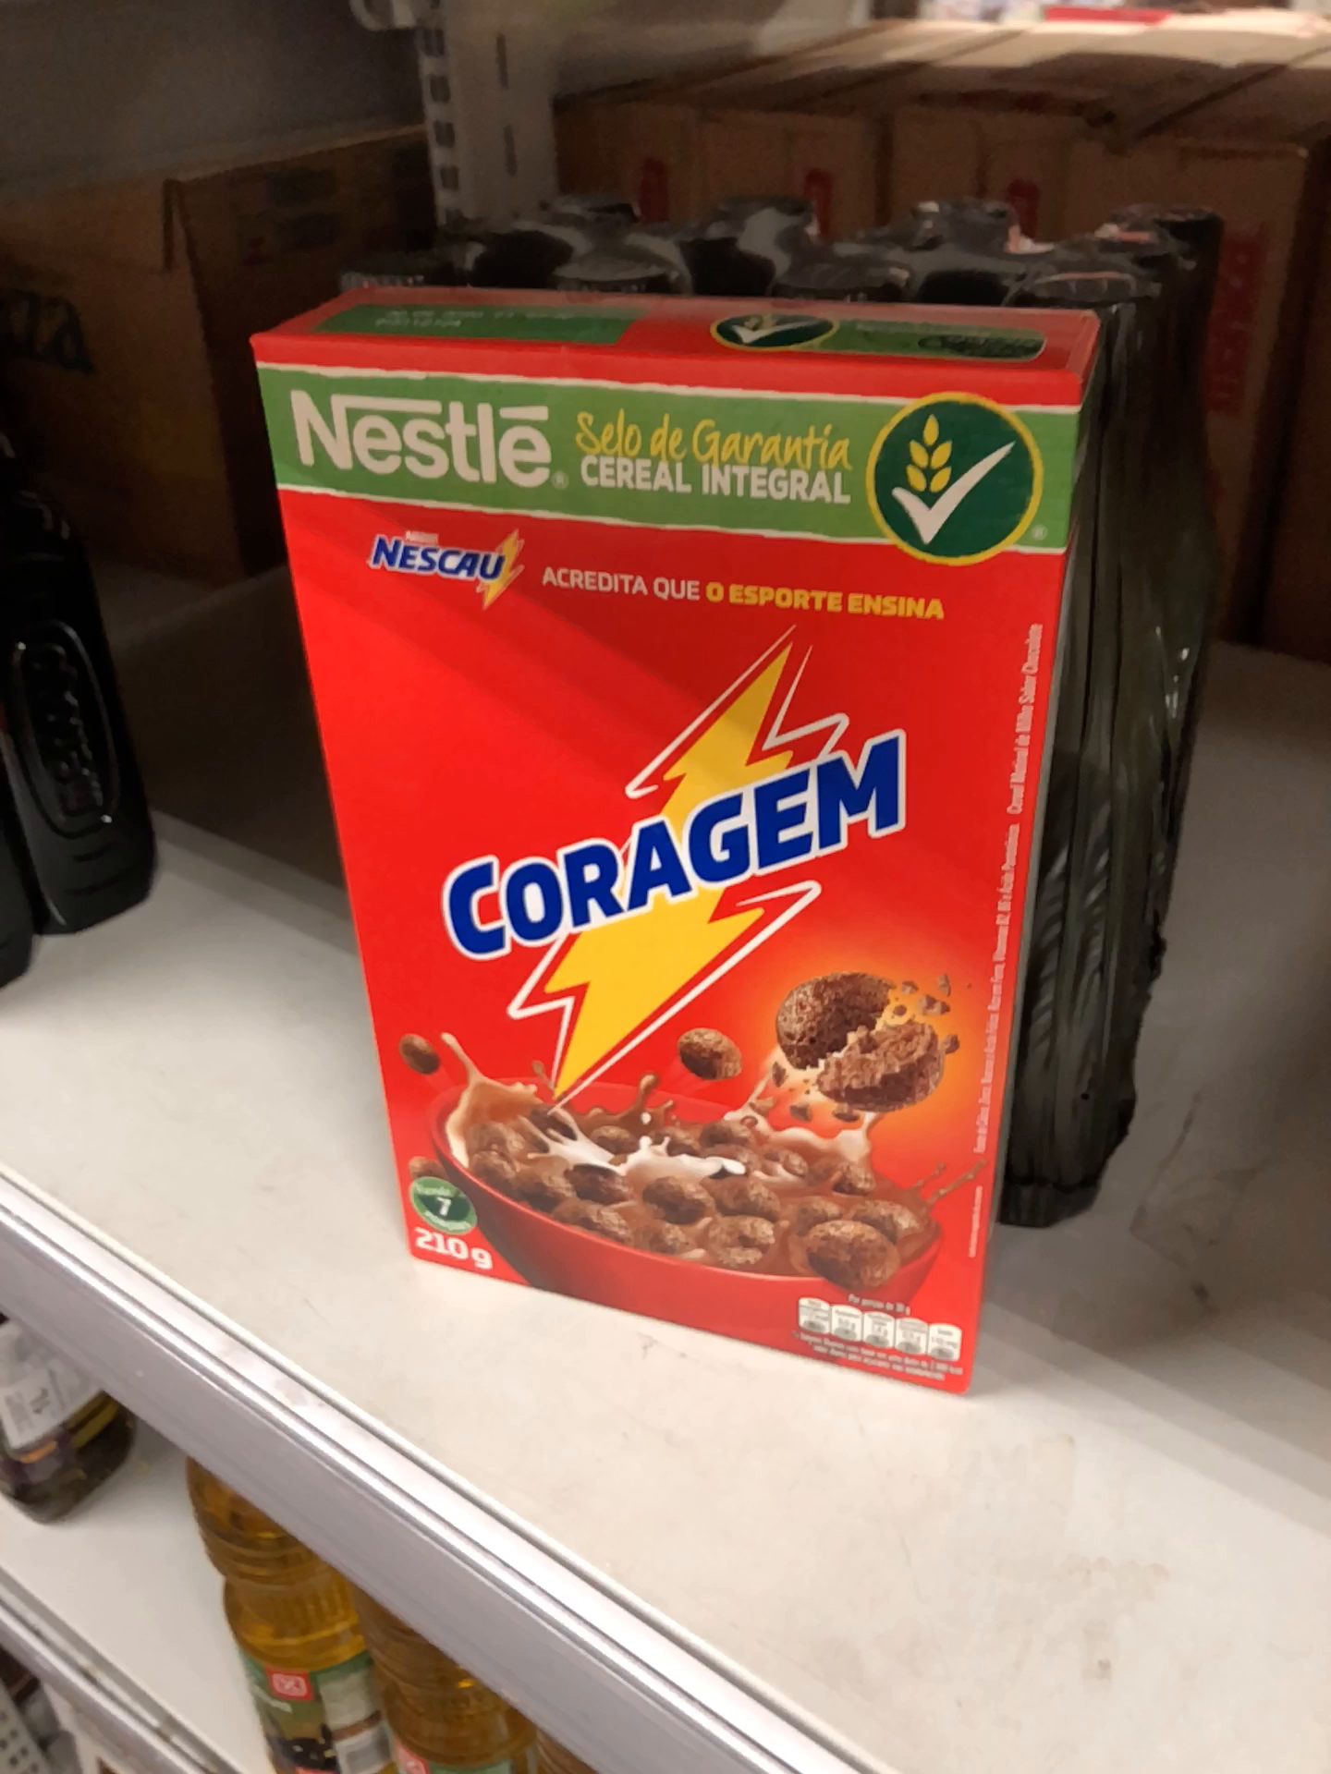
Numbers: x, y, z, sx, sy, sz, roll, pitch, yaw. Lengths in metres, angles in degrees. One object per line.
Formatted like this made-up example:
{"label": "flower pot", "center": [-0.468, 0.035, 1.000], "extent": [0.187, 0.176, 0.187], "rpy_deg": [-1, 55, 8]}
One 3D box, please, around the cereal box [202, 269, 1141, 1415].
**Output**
{"label": "cereal box", "center": [0.006, -0.006, 0.348], "extent": [0.170, 0.248, 0.060], "rpy_deg": [9, 33, 19]}
